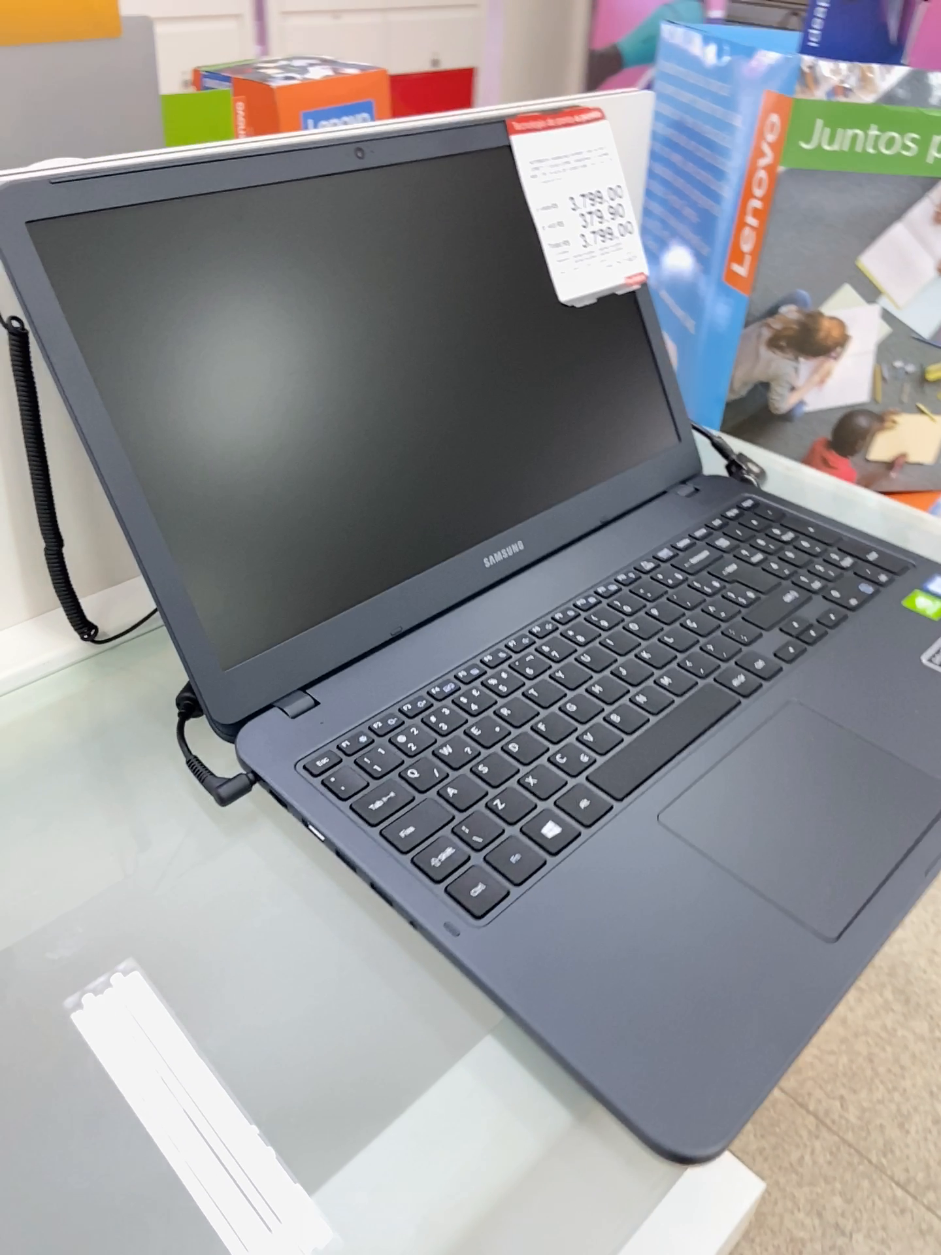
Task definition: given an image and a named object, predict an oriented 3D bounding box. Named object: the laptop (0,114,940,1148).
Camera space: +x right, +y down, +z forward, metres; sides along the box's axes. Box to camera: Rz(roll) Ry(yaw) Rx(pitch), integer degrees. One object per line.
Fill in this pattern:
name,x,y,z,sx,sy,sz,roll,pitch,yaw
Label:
laptop,0.070,-0.082,0.438,0.372,0.192,0.369,-29,46,-35
